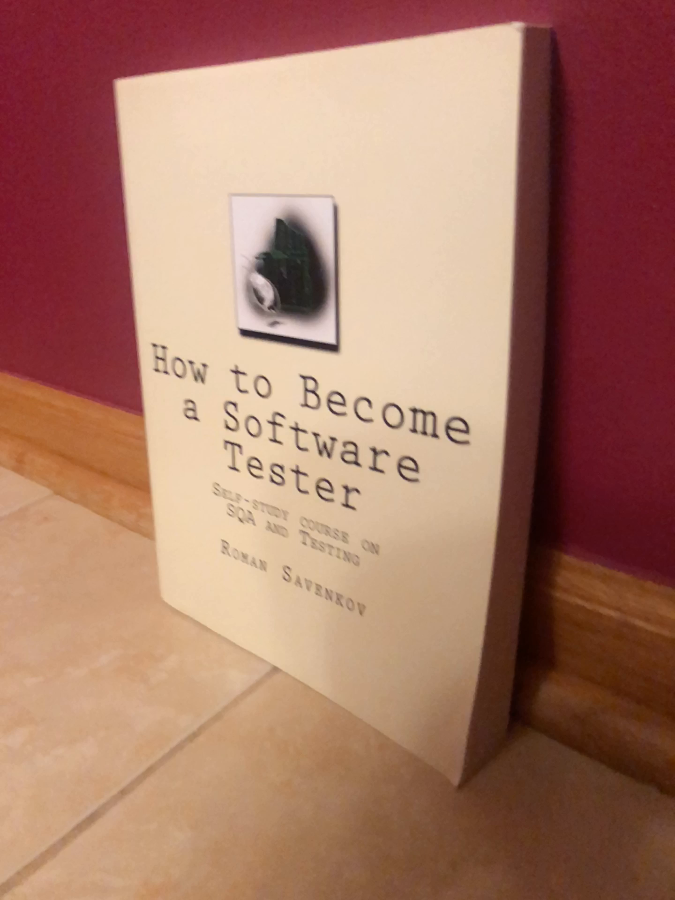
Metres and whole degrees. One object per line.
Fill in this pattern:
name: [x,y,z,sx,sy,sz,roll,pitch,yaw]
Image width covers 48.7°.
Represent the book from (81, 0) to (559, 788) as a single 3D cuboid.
book: [-0.021,-0.026,0.336,0.220,0.274,0.045,16,26,41]
